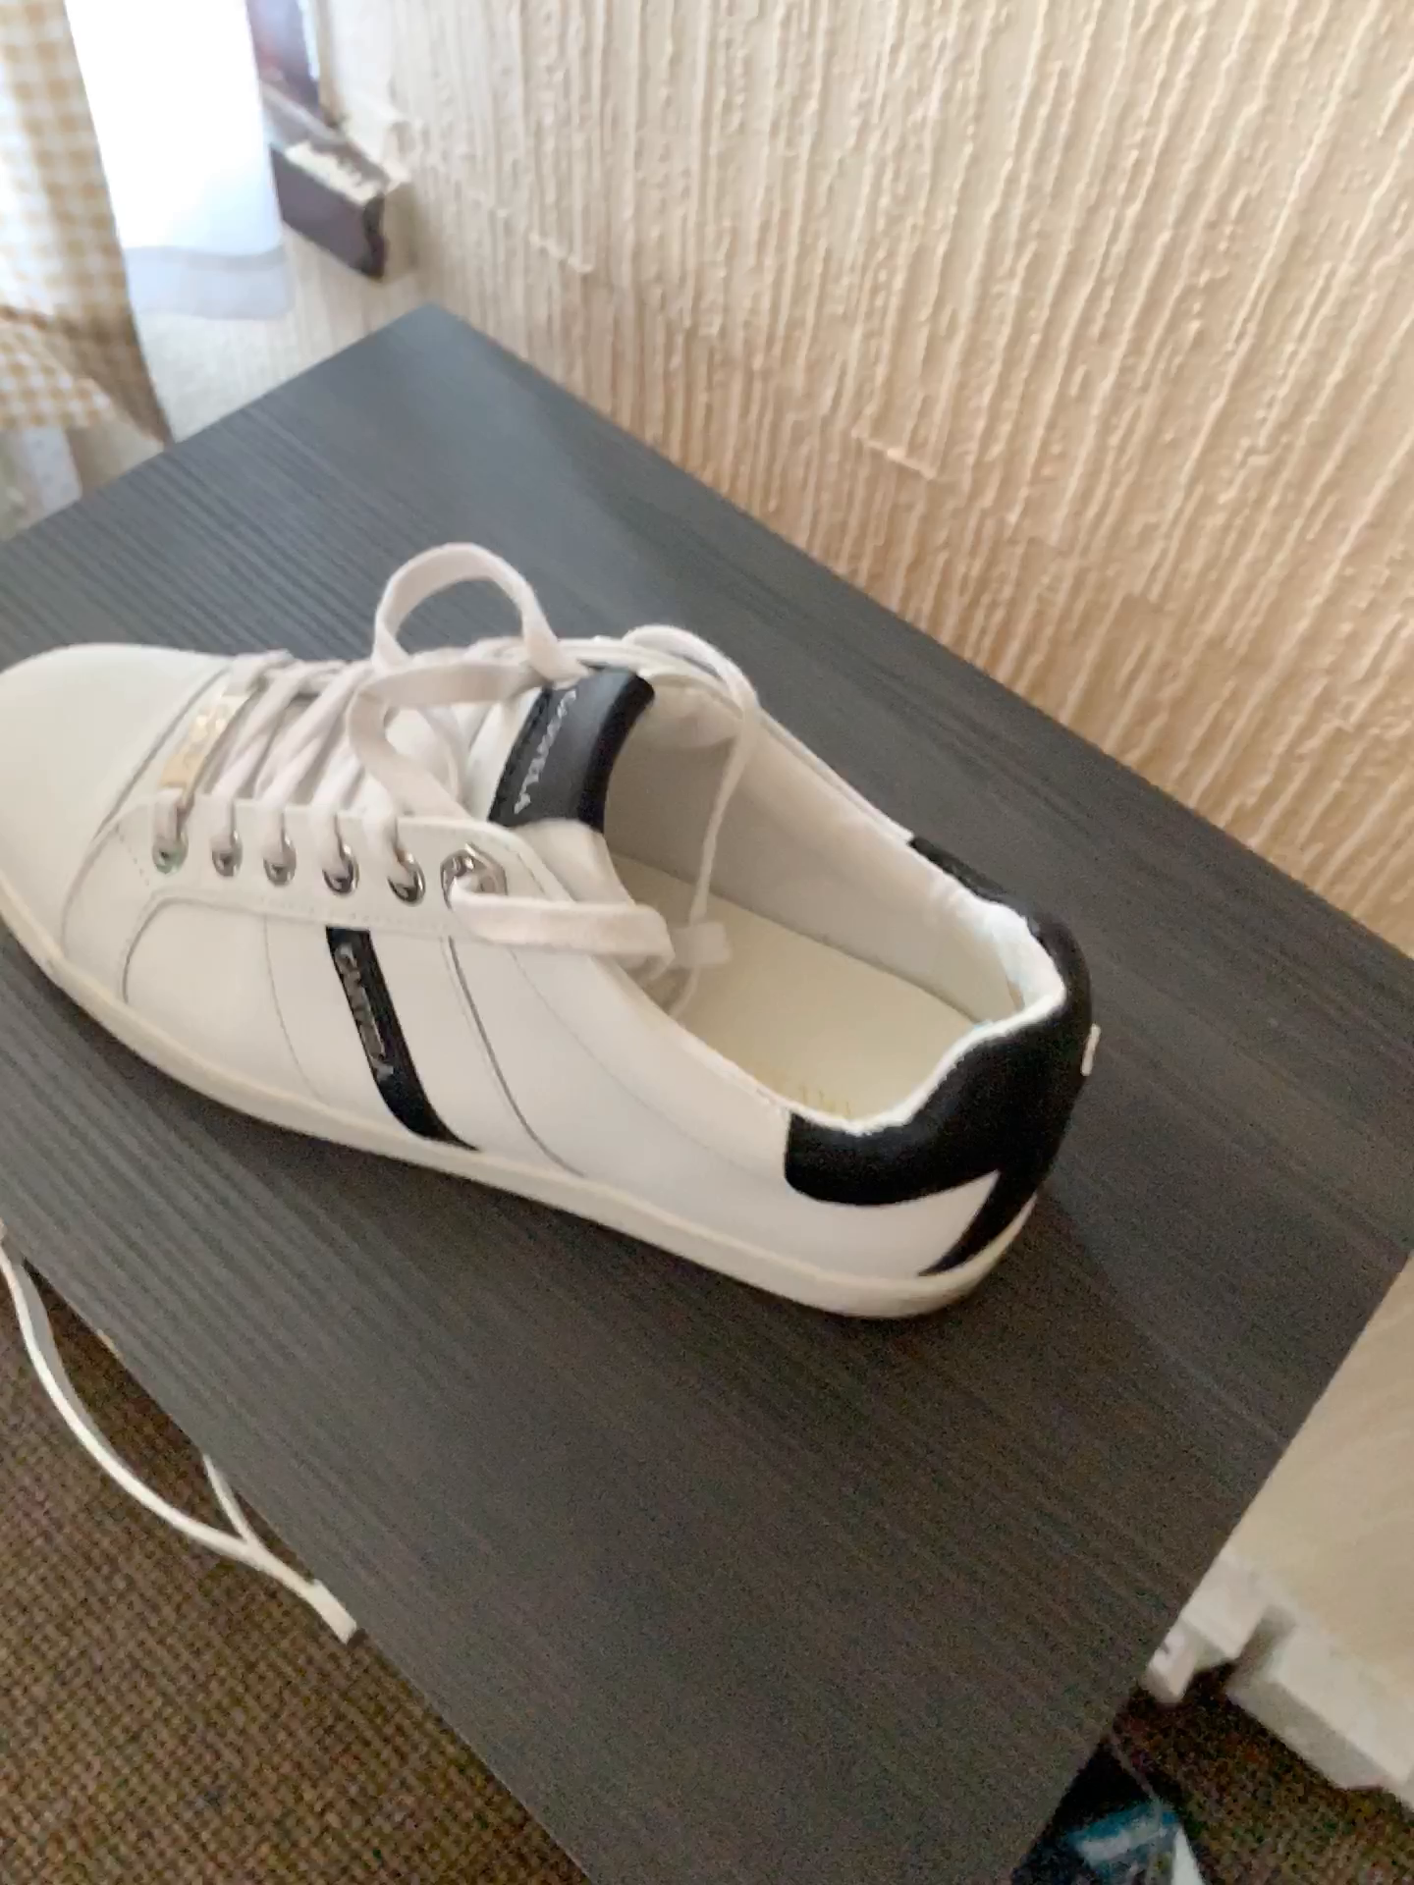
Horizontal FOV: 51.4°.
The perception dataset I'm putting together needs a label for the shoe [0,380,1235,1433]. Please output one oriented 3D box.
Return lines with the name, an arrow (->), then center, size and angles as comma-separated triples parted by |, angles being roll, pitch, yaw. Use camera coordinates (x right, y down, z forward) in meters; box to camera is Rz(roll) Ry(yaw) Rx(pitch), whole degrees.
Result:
shoe -> -0.044, -0.010, 0.302 | 0.260, 0.087, 0.104 | 21, 59, 8
